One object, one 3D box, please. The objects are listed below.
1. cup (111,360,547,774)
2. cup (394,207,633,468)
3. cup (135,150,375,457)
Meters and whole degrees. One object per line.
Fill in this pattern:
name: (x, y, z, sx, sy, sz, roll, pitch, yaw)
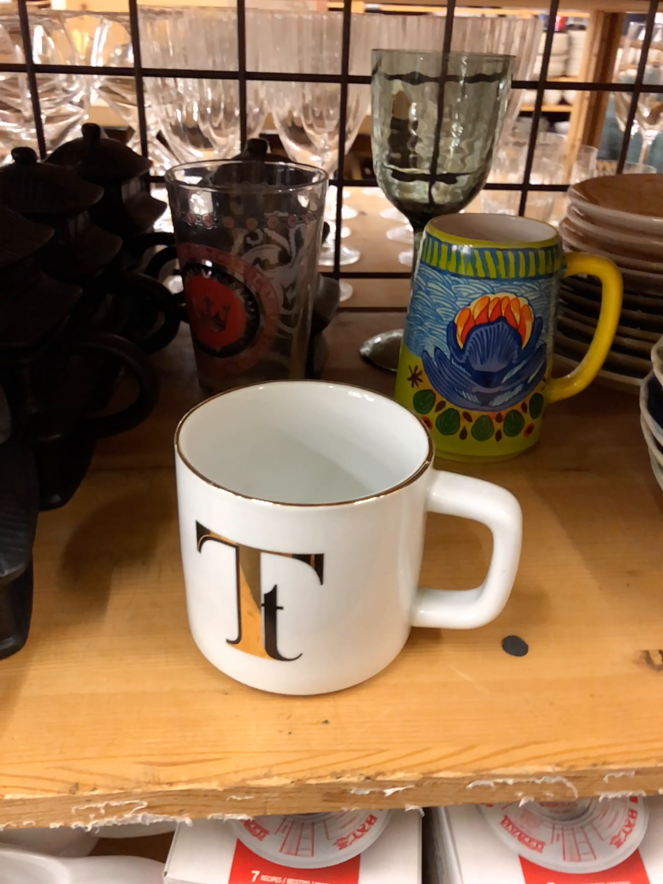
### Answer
cup: (0.003, 0.036, 0.269, 0.123, 0.084, 0.089, 13, 32, 18)
cup: (0.082, -0.055, 0.372, 0.093, 0.104, 0.079, 3, 30, 2)
cup: (-0.040, -0.080, 0.407, 0.093, 0.134, 0.079, 21, 35, 29)
